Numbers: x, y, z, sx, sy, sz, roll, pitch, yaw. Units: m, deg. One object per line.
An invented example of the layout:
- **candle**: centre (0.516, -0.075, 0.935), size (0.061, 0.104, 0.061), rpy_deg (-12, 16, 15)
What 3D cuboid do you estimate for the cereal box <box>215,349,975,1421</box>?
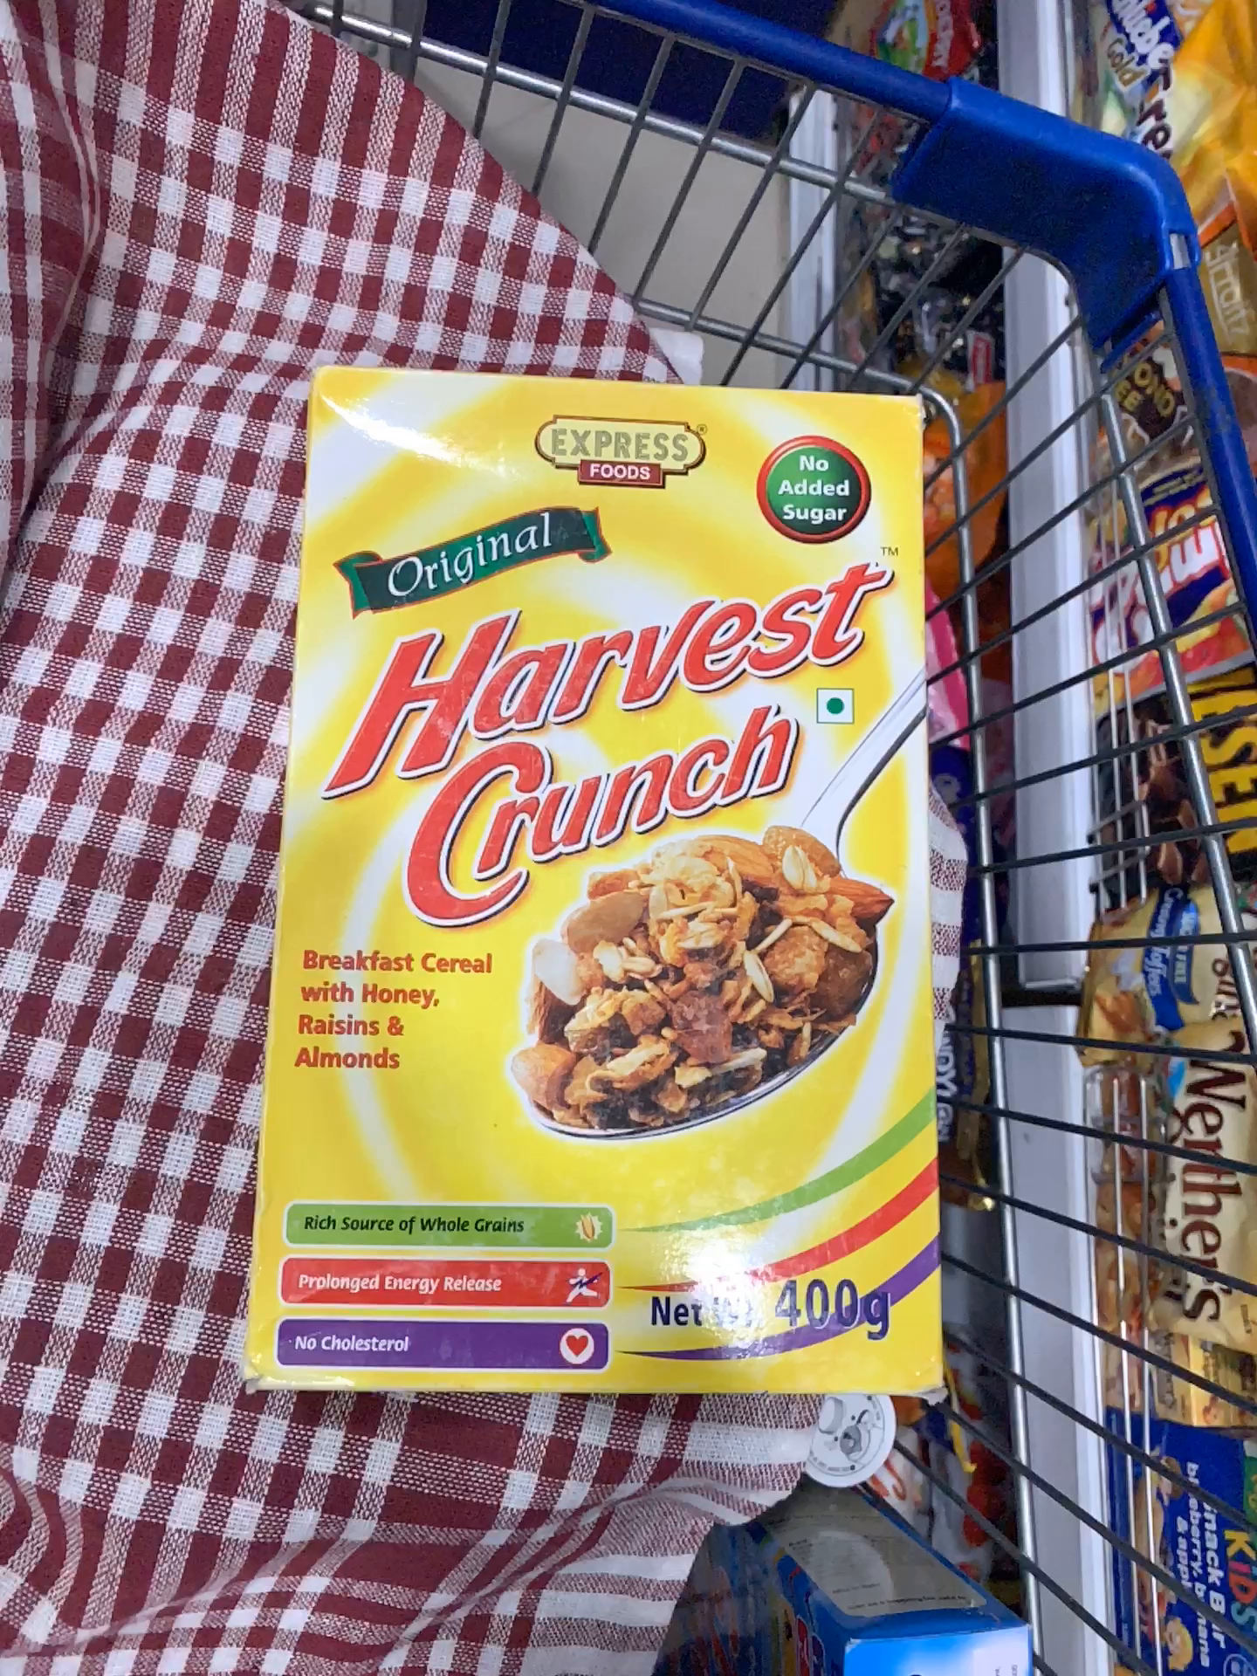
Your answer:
- **cereal box**: centre (-0.003, 0.008, 0.295), size (0.150, 0.050, 0.220), rpy_deg (2, 82, -2)
